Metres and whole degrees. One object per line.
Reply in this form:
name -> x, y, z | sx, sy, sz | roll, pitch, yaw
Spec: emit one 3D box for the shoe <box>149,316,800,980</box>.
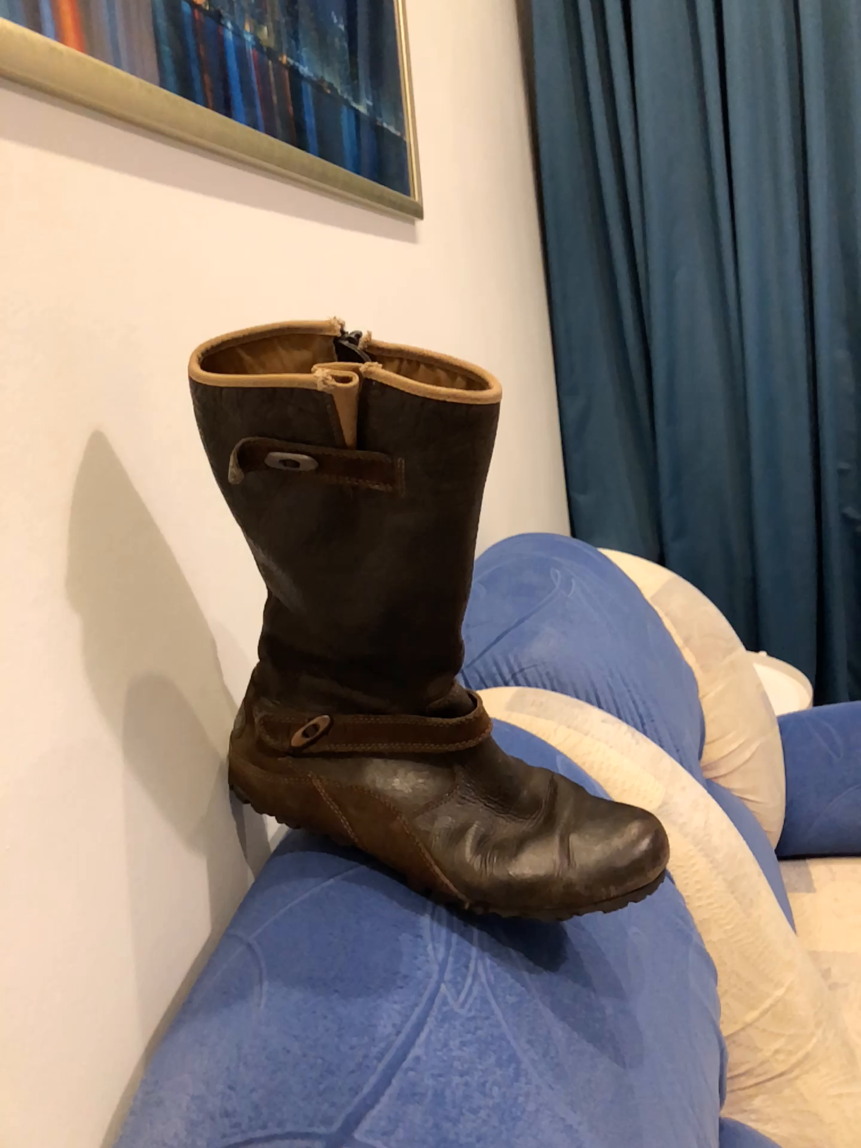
shoe -> 0.012, 0.029, 0.511 | 0.270, 0.279, 0.110 | 14, 17, 8
